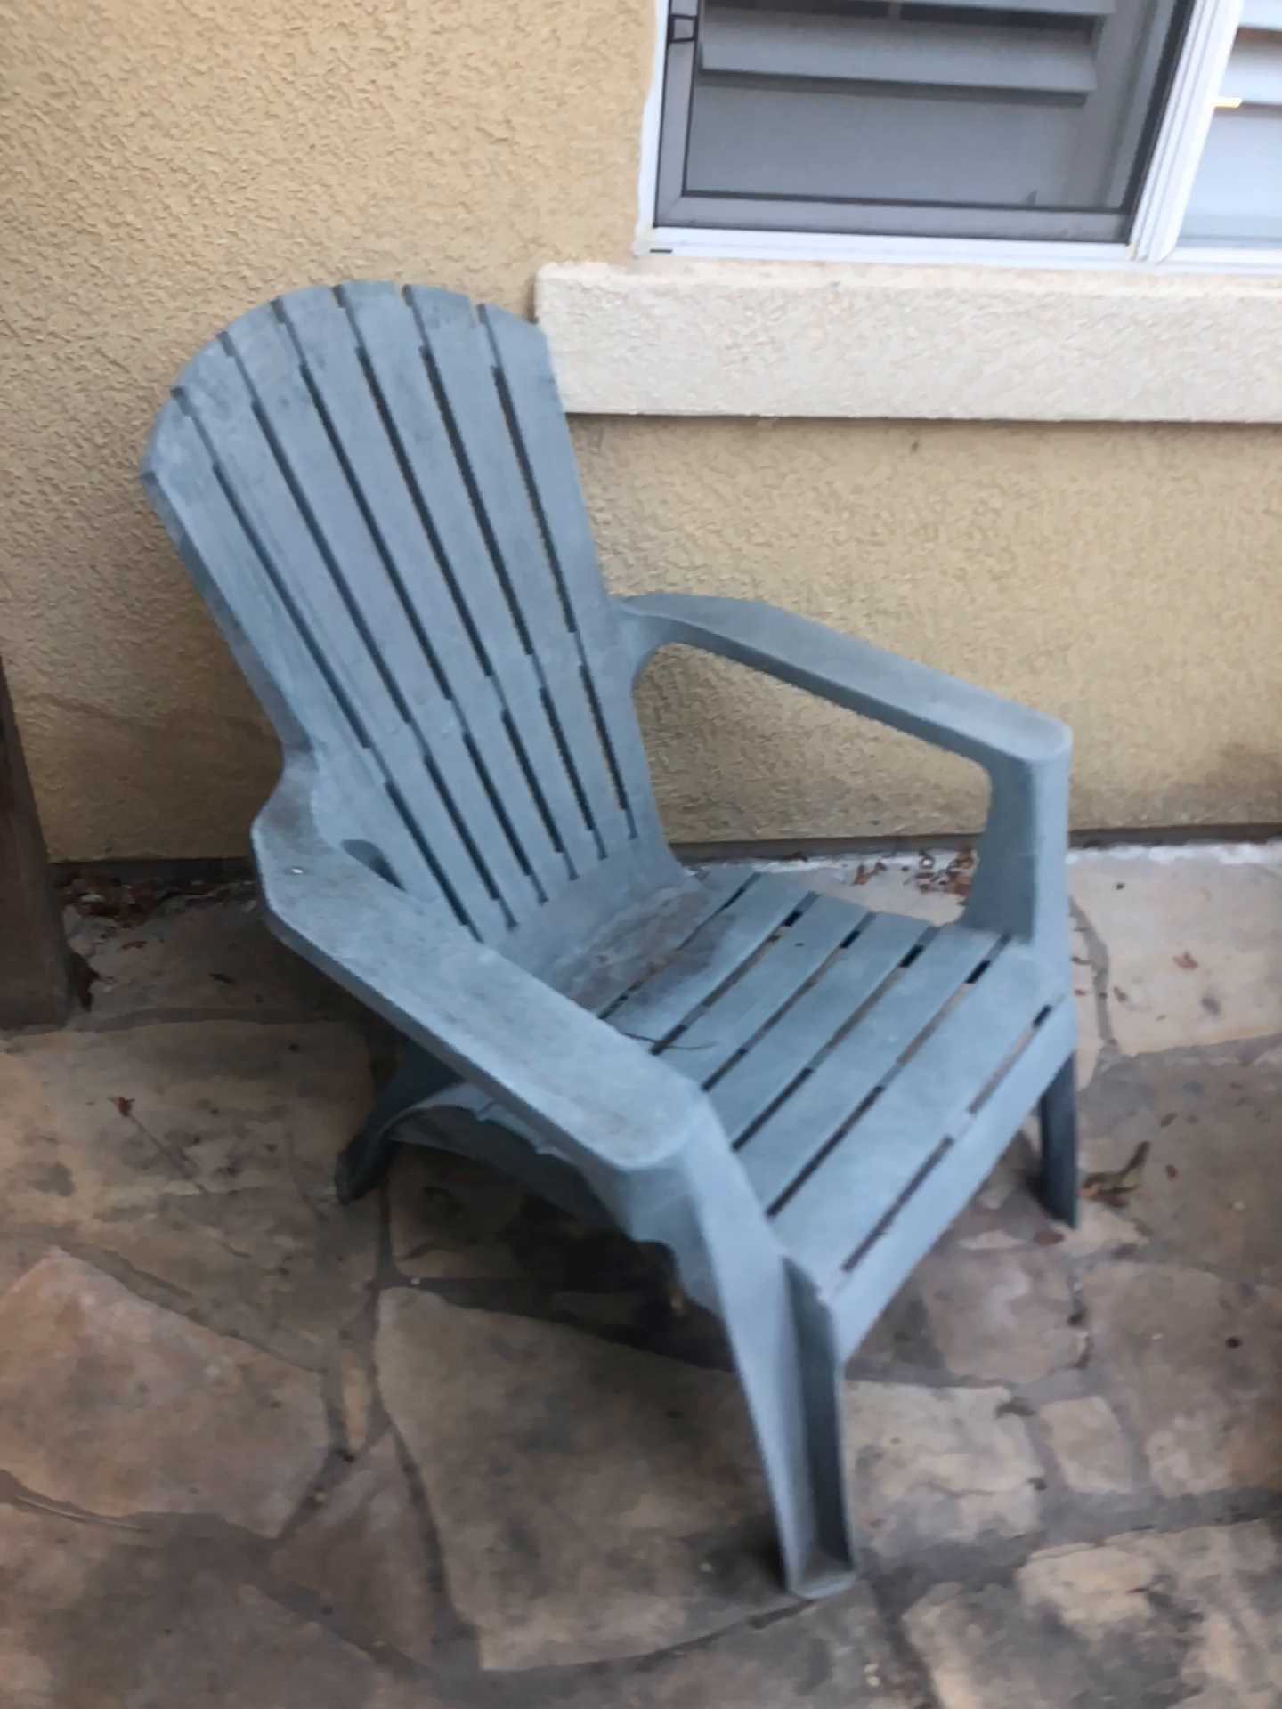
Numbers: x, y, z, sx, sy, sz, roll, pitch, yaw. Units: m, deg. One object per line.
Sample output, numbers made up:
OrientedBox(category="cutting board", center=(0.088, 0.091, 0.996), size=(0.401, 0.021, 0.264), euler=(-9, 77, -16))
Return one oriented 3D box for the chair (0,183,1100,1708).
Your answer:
OrientedBox(category="chair", center=(-0.184, 0.038, 1.470), size=(0.910, 1.220, 0.746), euler=(19, 38, 30))
